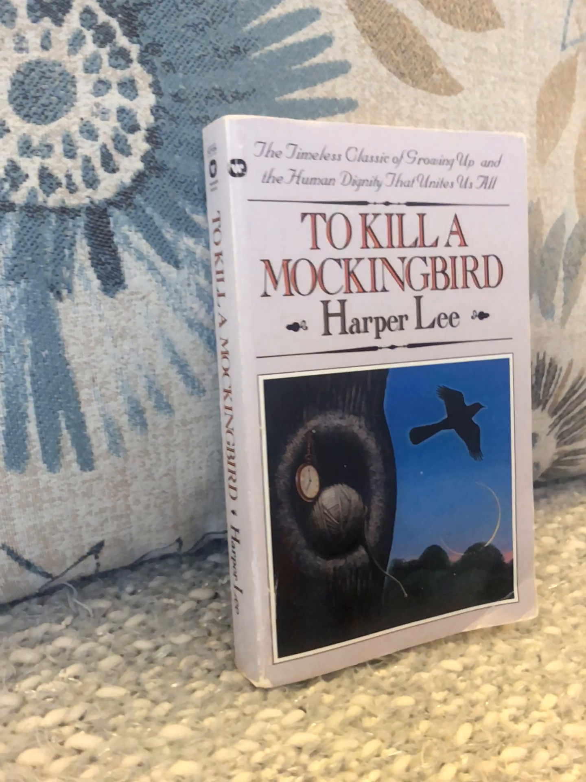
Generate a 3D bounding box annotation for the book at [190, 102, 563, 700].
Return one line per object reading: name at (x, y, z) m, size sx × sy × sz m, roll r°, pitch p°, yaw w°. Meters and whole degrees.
book at (0.031, 0.000, 0.216) m, size 0.112 × 0.166 × 0.033 m, roll -5°, pitch 6°, yaw -20°
